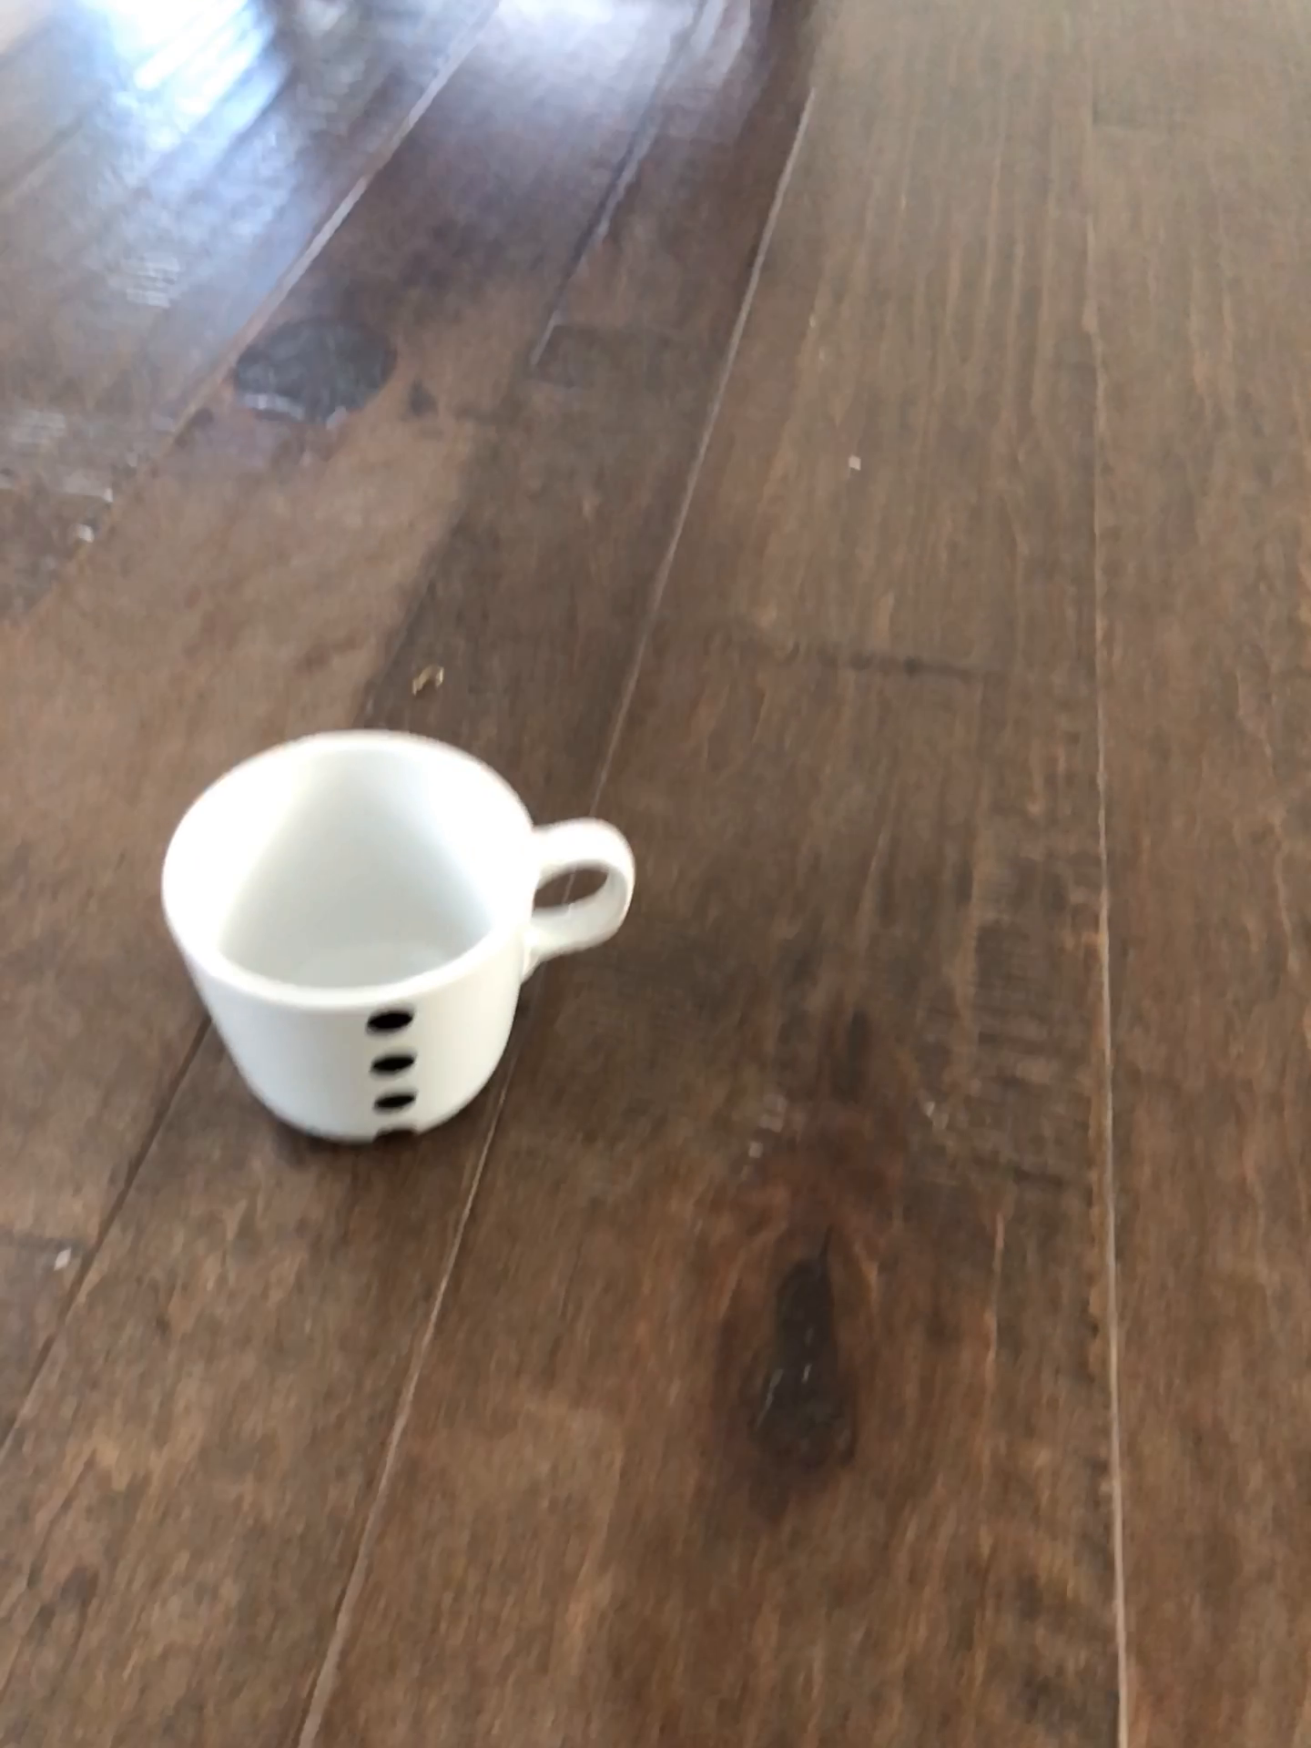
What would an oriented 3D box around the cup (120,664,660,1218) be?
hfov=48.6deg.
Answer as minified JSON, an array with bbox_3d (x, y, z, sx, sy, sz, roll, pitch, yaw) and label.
[{"bbox_3d":[-0.067,0.015,0.371,0.110,0.079,0.091,-12,50,-14],"label":"cup"}]
